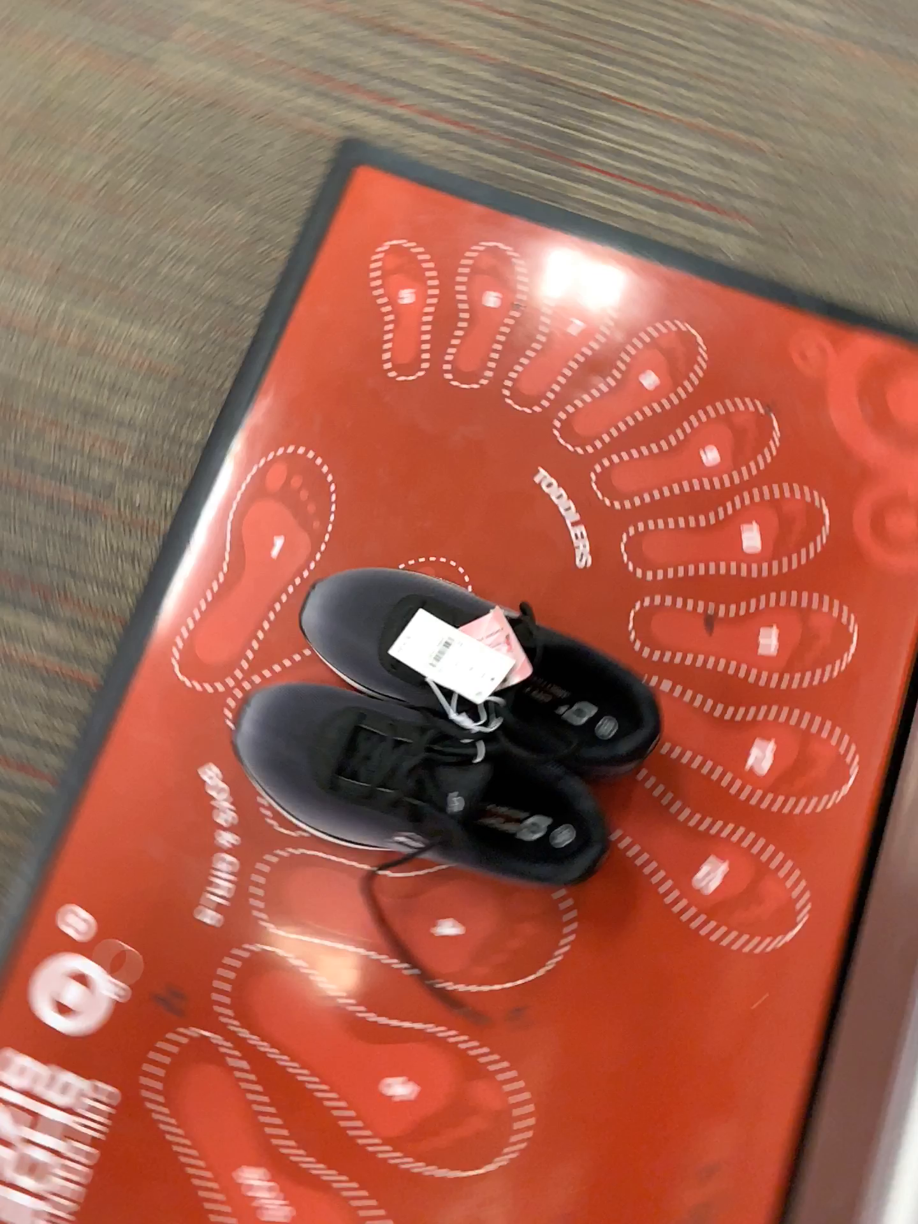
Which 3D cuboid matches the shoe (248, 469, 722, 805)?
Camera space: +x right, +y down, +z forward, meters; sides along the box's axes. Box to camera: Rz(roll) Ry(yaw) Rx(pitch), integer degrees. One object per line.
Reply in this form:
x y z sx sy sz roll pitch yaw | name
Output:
0.015 0.021 0.600 0.260 0.100 0.100 24 78 4 | shoe

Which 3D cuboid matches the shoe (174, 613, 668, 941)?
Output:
-0.021 0.101 0.579 0.260 0.100 0.100 20 77 3 | shoe
